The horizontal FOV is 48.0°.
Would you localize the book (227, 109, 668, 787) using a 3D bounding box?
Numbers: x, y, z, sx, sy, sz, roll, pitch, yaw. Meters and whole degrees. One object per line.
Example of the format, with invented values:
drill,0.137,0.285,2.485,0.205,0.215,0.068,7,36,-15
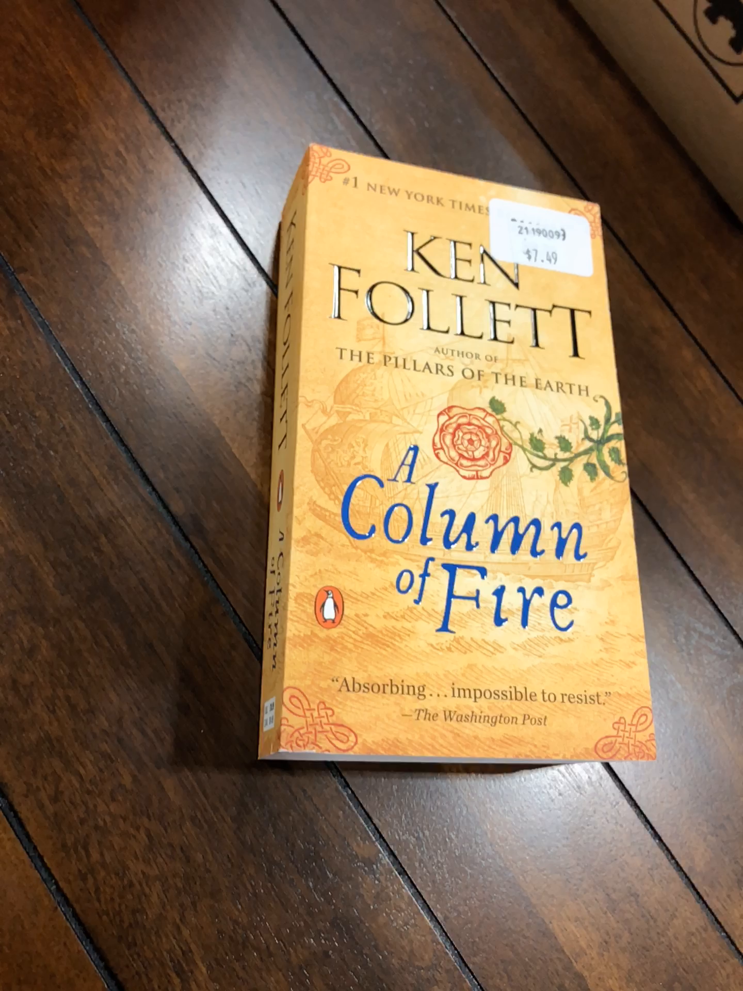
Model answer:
book,0.021,-0.015,0.257,0.110,0.040,0.195,7,68,-17
